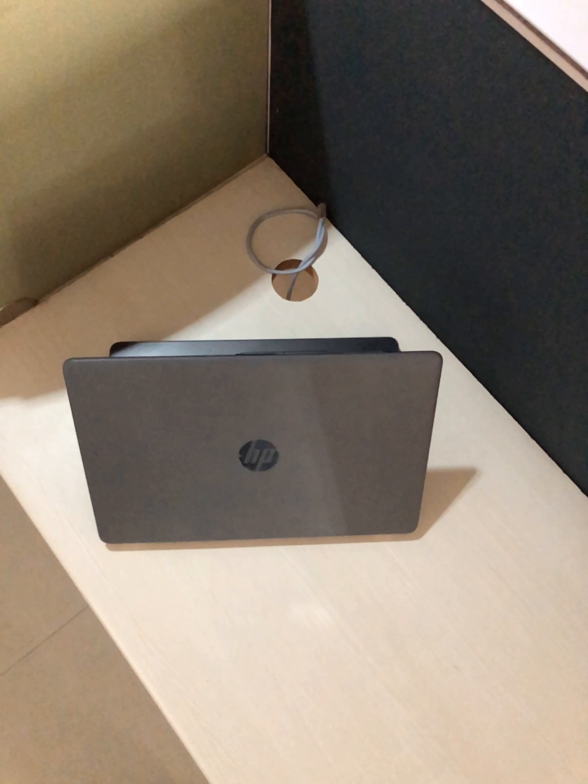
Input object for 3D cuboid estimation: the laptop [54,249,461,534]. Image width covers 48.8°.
[{"bbox_3d":[-0.040,0.011,0.707,0.361,0.205,0.247,-1,72,-2],"label":"laptop"}]
